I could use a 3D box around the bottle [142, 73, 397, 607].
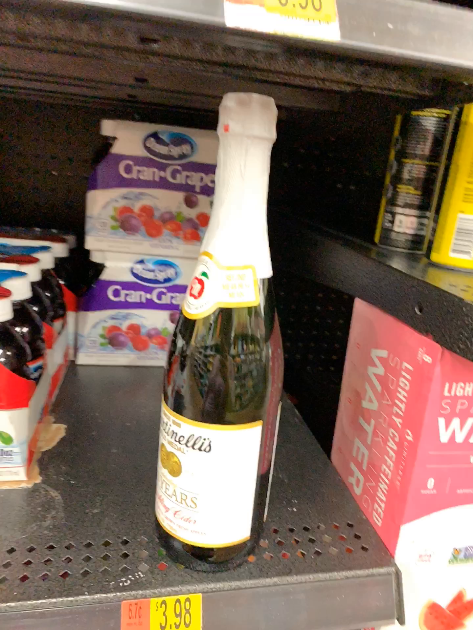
[{"bbox_3d":[0.007,0.019,0.314,0.090,0.299,0.090,6,18,-2],"label":"bottle"}]
